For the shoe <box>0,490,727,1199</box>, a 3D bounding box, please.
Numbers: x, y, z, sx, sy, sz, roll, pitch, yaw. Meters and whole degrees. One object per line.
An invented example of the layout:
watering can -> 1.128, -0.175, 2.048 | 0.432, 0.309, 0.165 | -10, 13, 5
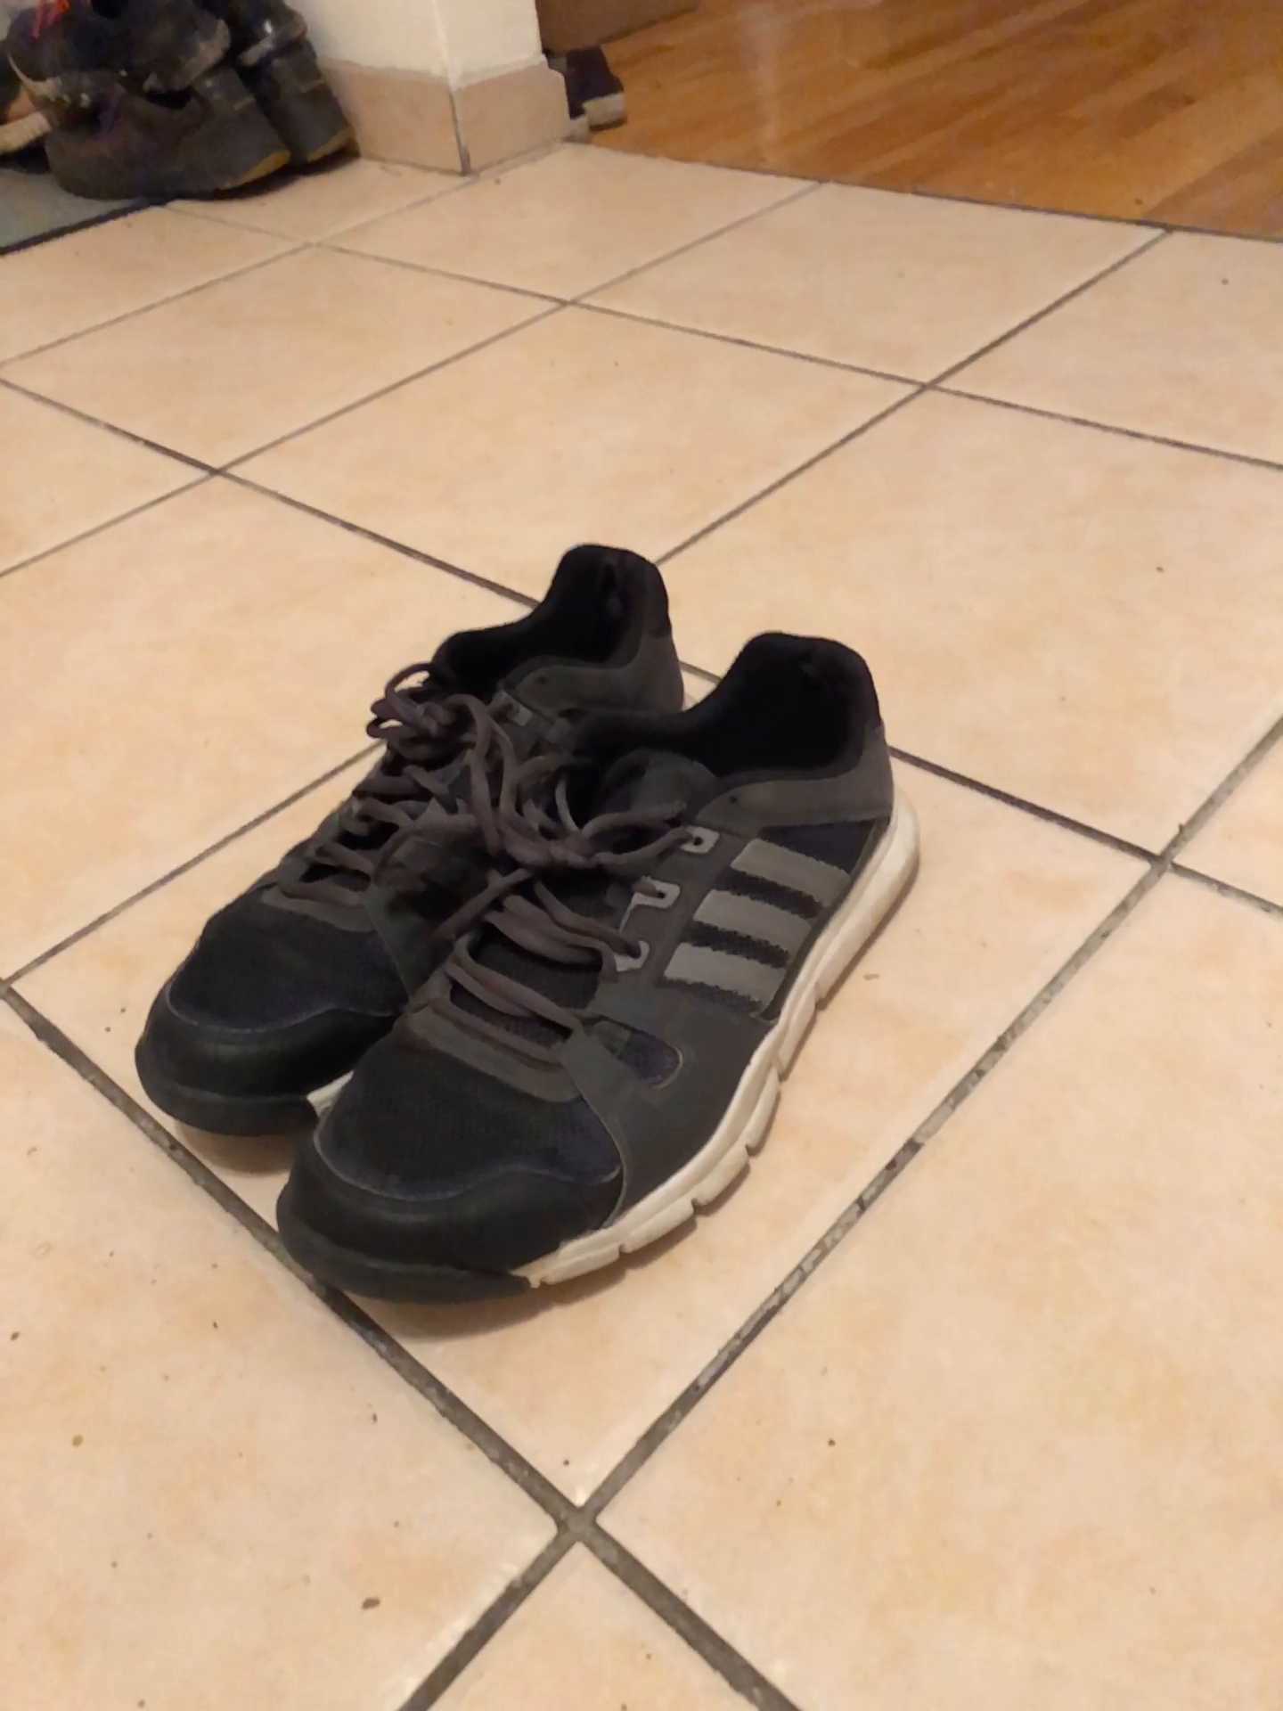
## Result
shoe -> -0.090, -0.023, 0.542 | 0.110, 0.099, 0.281 | 24, 49, 27

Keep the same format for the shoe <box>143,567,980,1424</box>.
shoe -> -0.004, 0.022, 0.477 | 0.120, 0.099, 0.281 | 20, 47, 30
